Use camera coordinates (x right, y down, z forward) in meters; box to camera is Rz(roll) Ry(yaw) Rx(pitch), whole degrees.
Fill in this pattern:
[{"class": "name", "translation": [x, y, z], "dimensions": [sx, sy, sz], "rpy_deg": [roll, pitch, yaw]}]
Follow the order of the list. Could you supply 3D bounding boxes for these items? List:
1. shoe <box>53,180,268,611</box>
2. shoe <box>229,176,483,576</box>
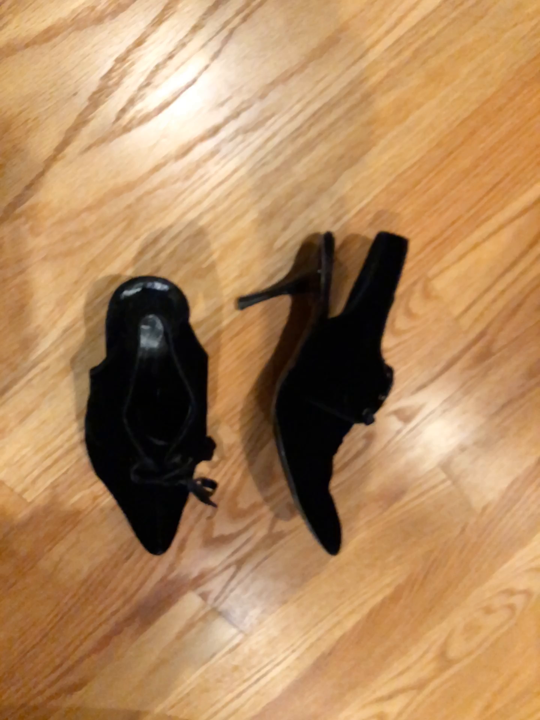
[{"class": "shoe", "translation": [-0.071, 0.013, 0.404], "dimensions": [0.107, 0.117, 0.252], "rpy_deg": [-6, 109, -16]}, {"class": "shoe", "translation": [0.047, 0.006, 0.429], "dimensions": [0.118, 0.107, 0.252], "rpy_deg": [0, 107, -17]}]
